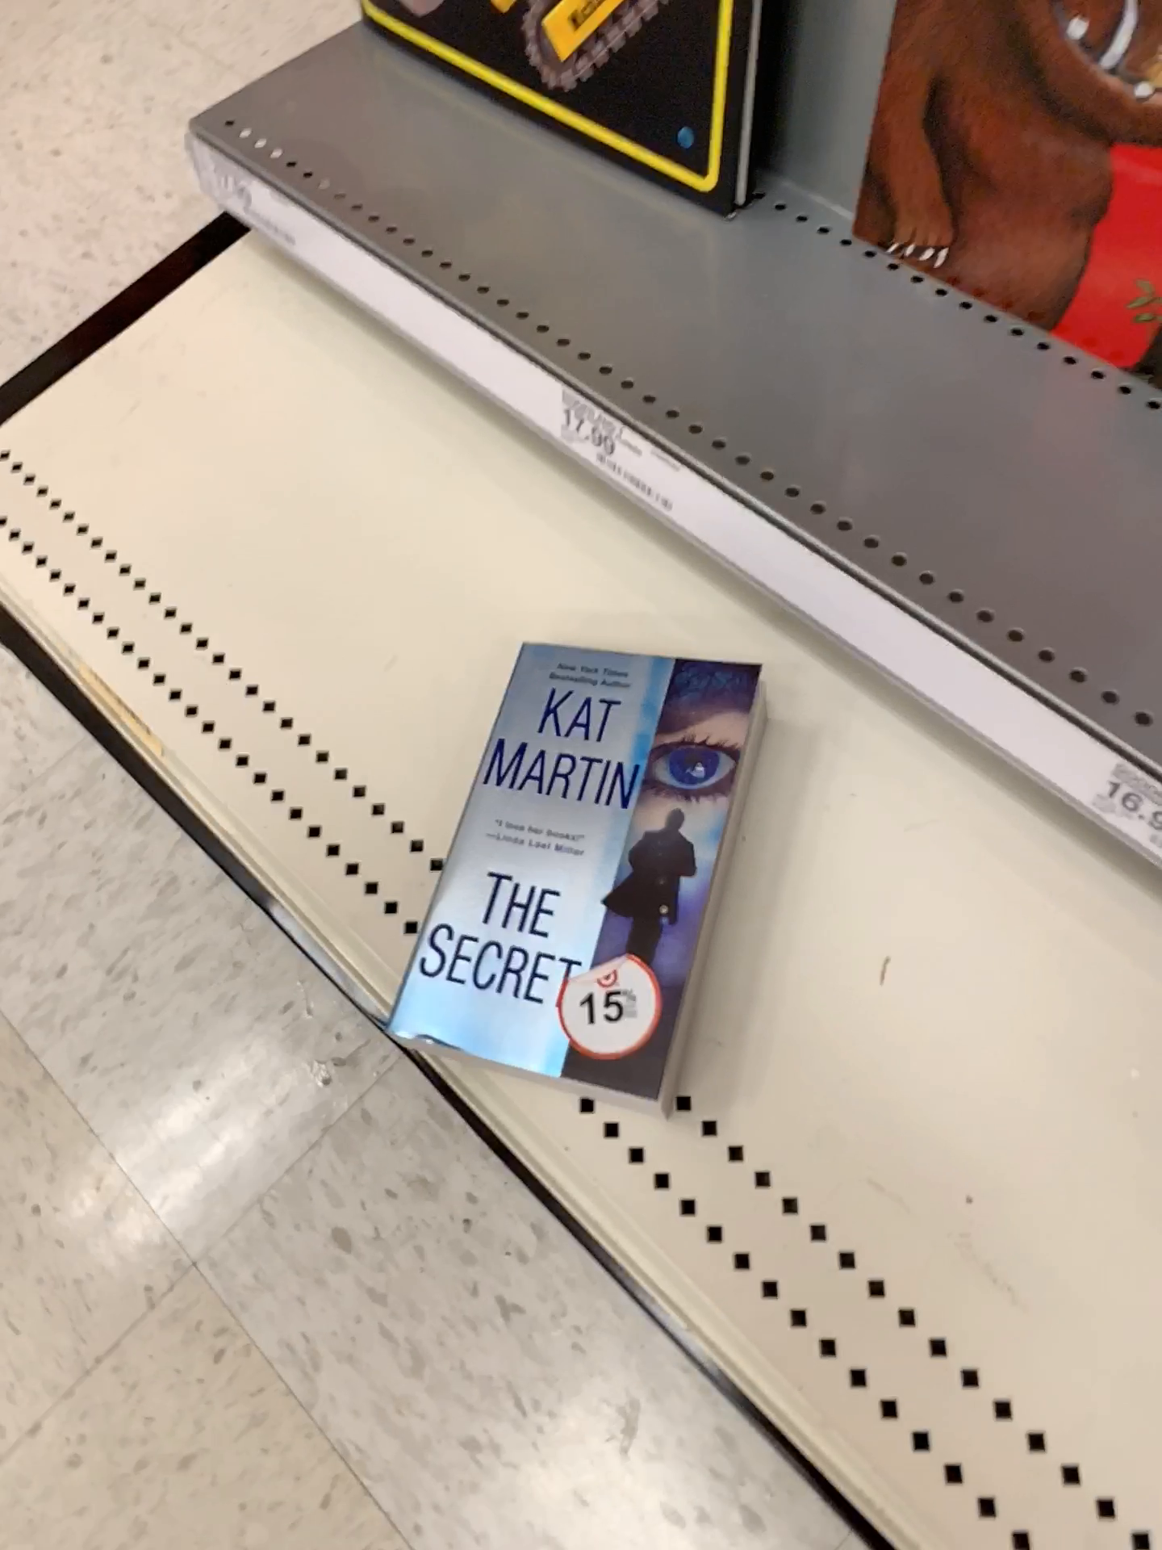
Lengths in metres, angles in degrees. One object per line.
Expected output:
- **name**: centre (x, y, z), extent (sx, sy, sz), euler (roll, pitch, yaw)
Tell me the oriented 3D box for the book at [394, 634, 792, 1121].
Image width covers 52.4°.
- **book**: centre (0.010, 0.033, 0.449), extent (0.105, 0.040, 0.164), euler (10, 68, 18)
